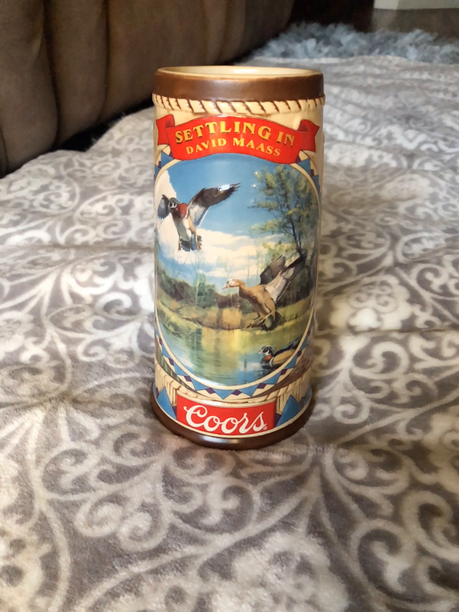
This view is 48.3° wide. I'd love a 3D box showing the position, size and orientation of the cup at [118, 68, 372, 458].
[{"bbox_3d":[0.003,-0.036,0.303,0.098,0.188,0.145,-1,25,-3],"label":"cup"}]
